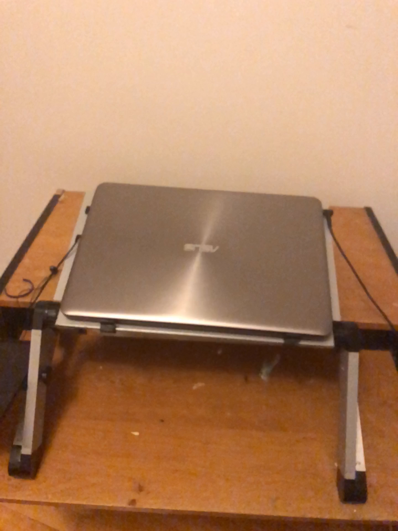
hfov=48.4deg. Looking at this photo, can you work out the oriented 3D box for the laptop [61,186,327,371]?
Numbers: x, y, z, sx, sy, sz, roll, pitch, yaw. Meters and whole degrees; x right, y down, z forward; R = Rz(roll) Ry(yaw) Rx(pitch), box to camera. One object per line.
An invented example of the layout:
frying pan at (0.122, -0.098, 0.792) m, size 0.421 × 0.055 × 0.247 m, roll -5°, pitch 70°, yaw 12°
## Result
laptop at (-0.001, 0.007, 0.694) m, size 0.361 × 0.071 × 0.250 m, roll 4°, pitch 52°, yaw 4°
